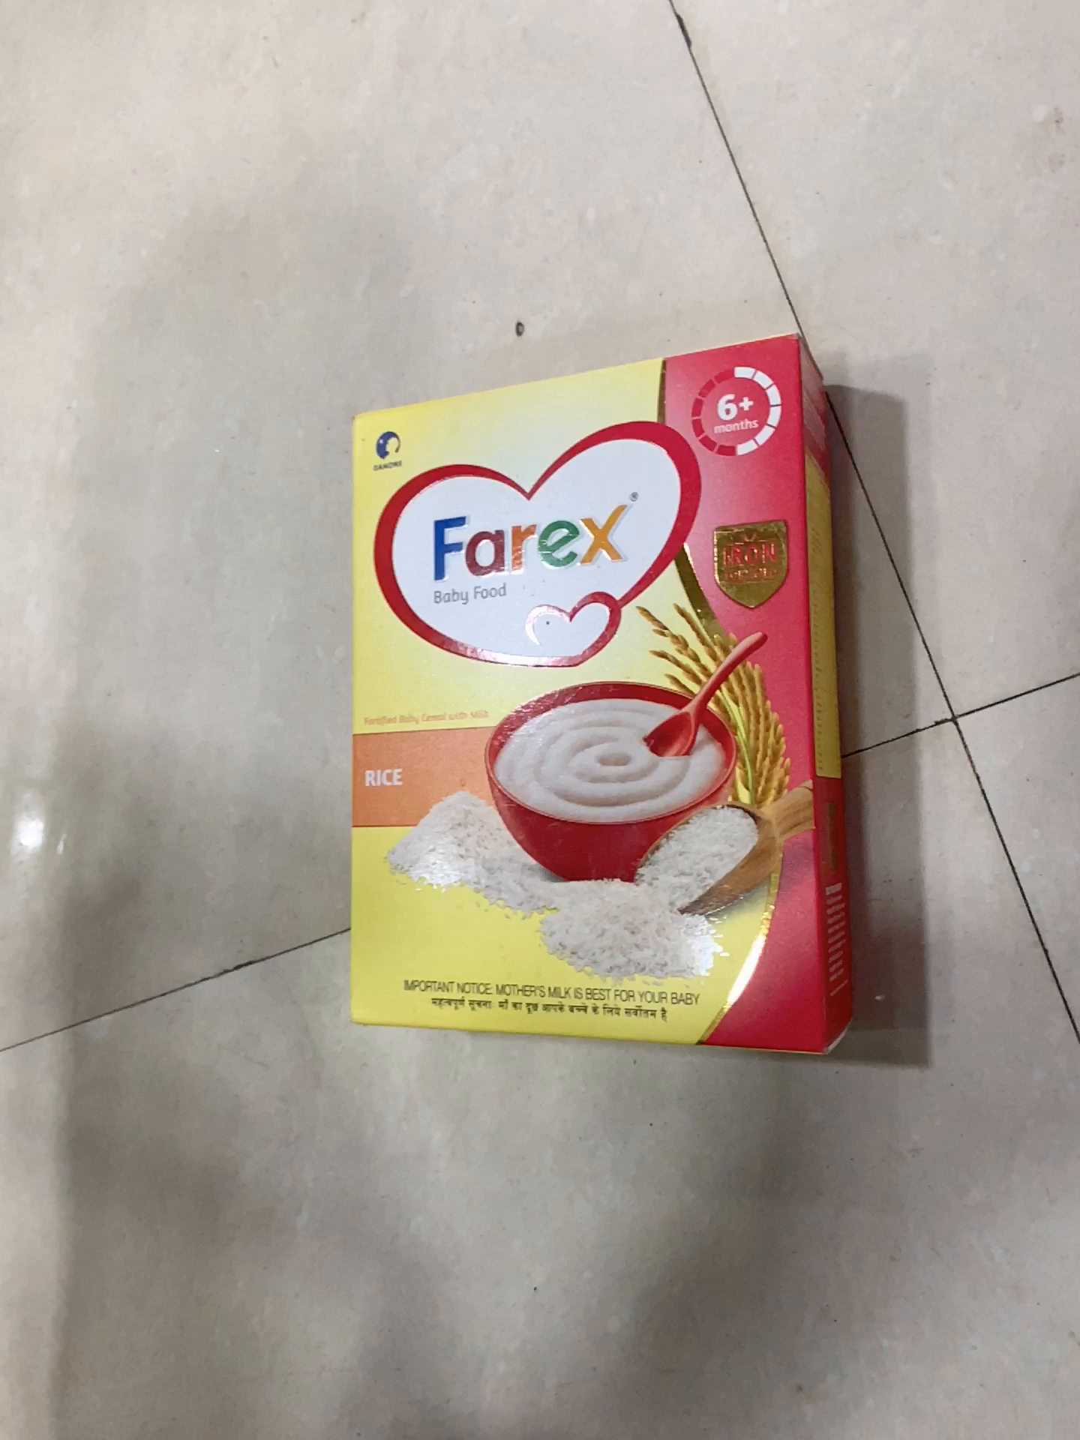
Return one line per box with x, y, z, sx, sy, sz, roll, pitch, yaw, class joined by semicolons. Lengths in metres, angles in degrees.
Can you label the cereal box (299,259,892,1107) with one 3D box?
0.014;-0.006;0.332;0.160;0.060;0.210;-3;83;23;cereal box
